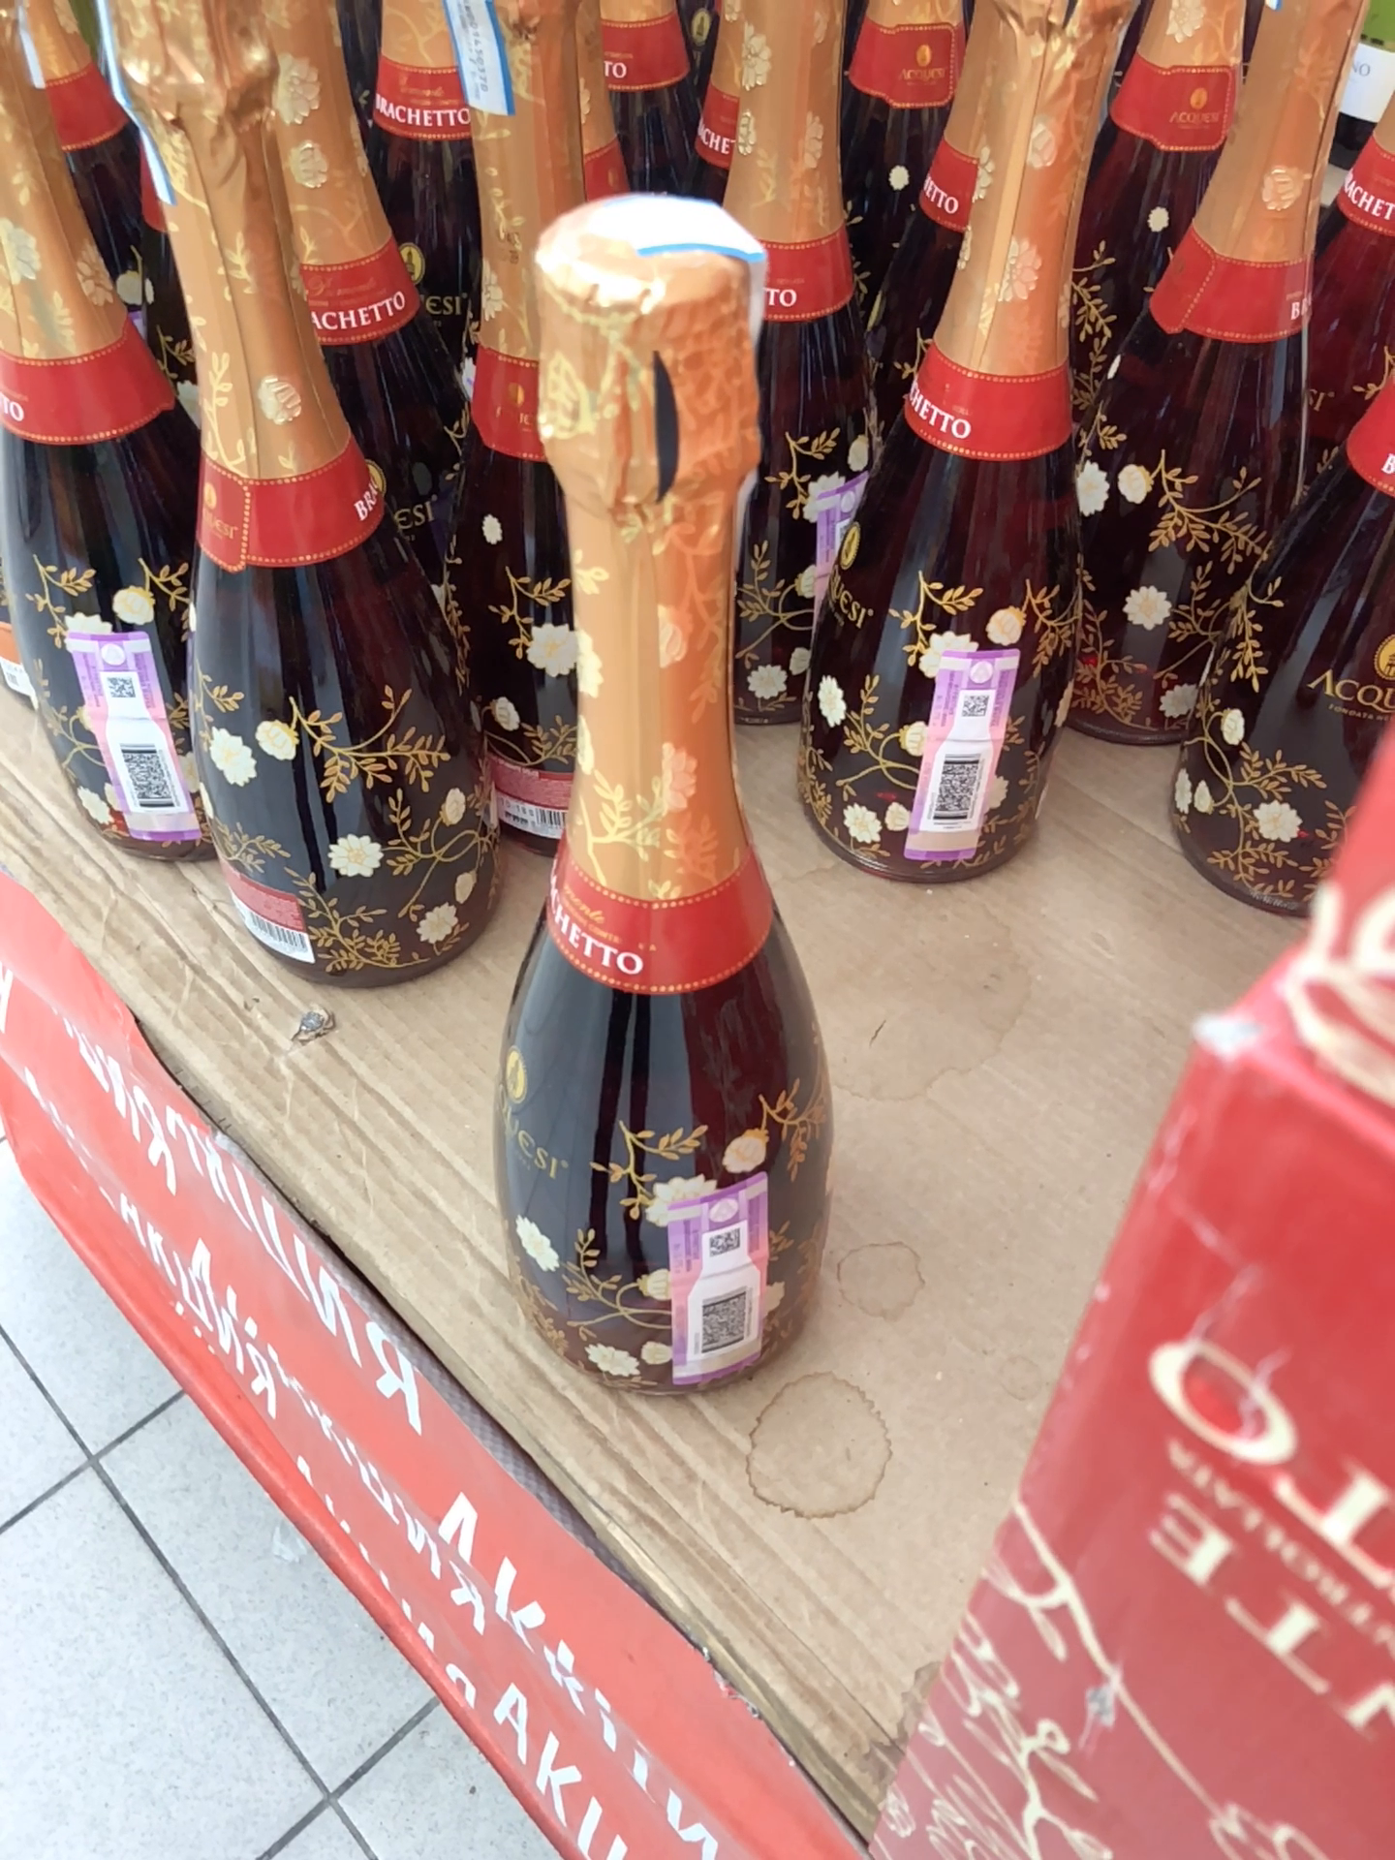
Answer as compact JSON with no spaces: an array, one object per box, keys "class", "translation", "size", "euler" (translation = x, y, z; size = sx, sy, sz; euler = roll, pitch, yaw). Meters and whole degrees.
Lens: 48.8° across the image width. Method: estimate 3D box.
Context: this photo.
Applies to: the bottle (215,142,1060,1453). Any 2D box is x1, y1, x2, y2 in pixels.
[{"class":"bottle","translation":[-0.014,-0.003,0.344],"size":[0.100,0.279,0.100],"euler":[0,49,0]}]
